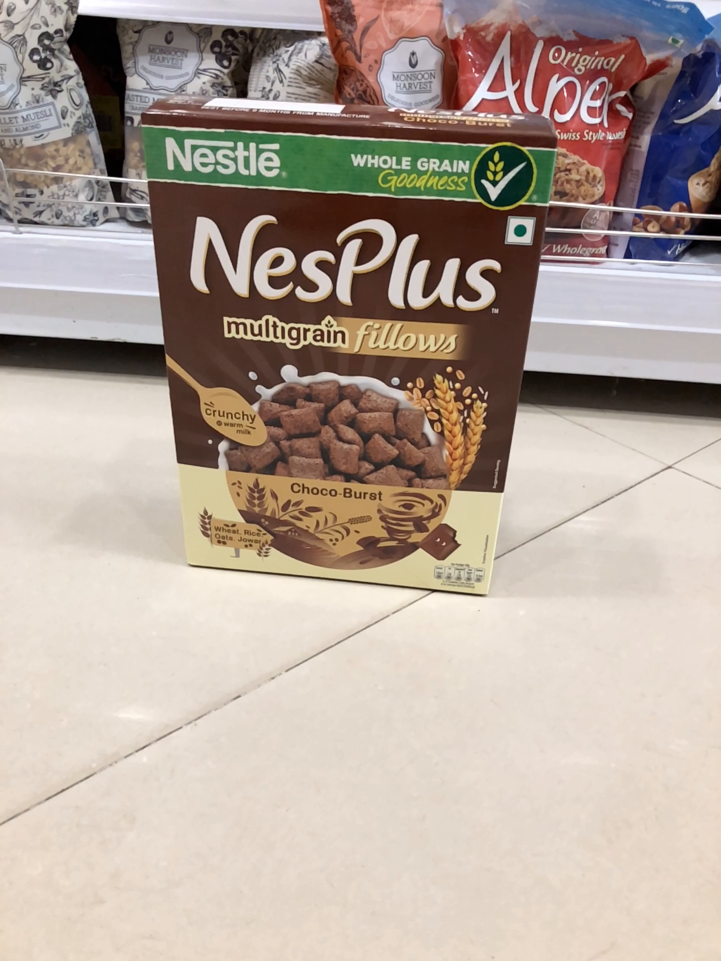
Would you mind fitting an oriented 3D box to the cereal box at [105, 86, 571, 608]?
[{"bbox_3d":[-0.013,-0.061,0.430,0.200,0.258,0.060,5,30,4],"label":"cereal box"}]
